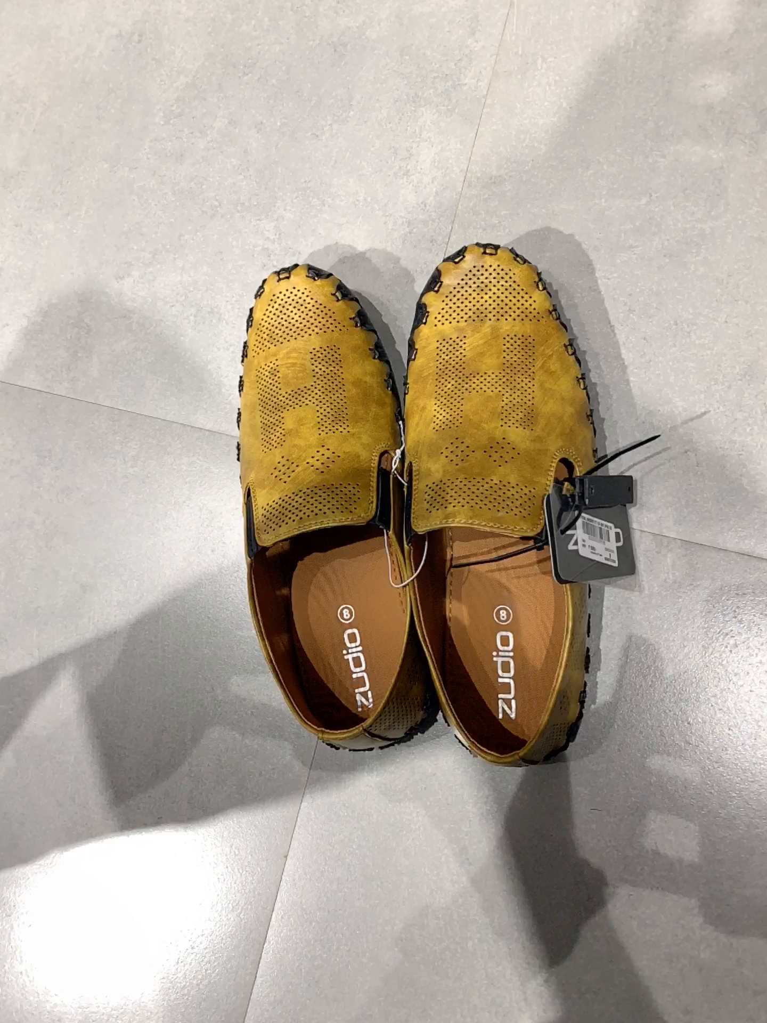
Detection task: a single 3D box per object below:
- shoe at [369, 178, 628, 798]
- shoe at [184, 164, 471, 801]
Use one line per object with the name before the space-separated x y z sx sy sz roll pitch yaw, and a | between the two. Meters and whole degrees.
shoe | 0.061 -0.010 0.415 0.110 0.080 0.290 -4 83 16
shoe | -0.029 -0.013 0.462 0.100 0.120 0.320 -9 81 15
